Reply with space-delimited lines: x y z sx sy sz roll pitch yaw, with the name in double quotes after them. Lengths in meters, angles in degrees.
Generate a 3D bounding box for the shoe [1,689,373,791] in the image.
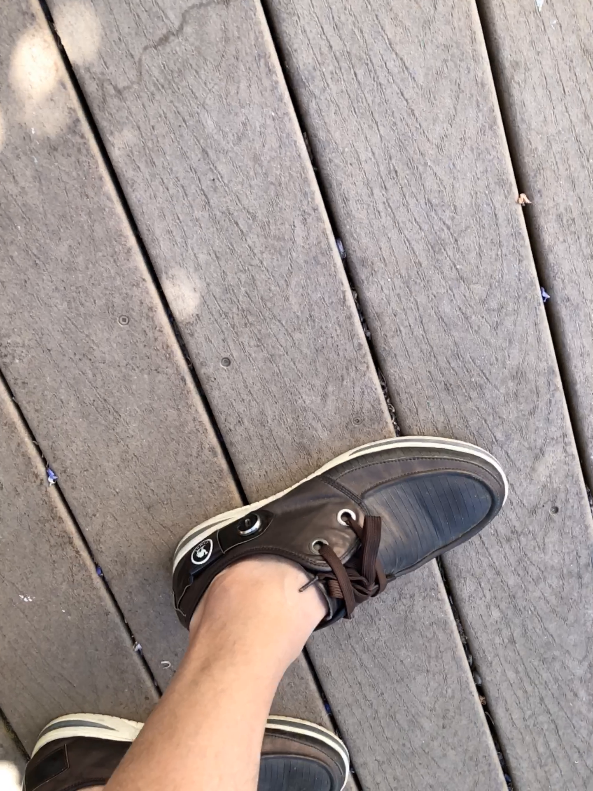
-0.088 0.333 0.548 0.276 0.090 0.104 8 106 -6 "shoe"

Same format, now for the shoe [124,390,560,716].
0.030 0.114 0.492 0.283 0.096 0.104 -25 107 4 "shoe"
